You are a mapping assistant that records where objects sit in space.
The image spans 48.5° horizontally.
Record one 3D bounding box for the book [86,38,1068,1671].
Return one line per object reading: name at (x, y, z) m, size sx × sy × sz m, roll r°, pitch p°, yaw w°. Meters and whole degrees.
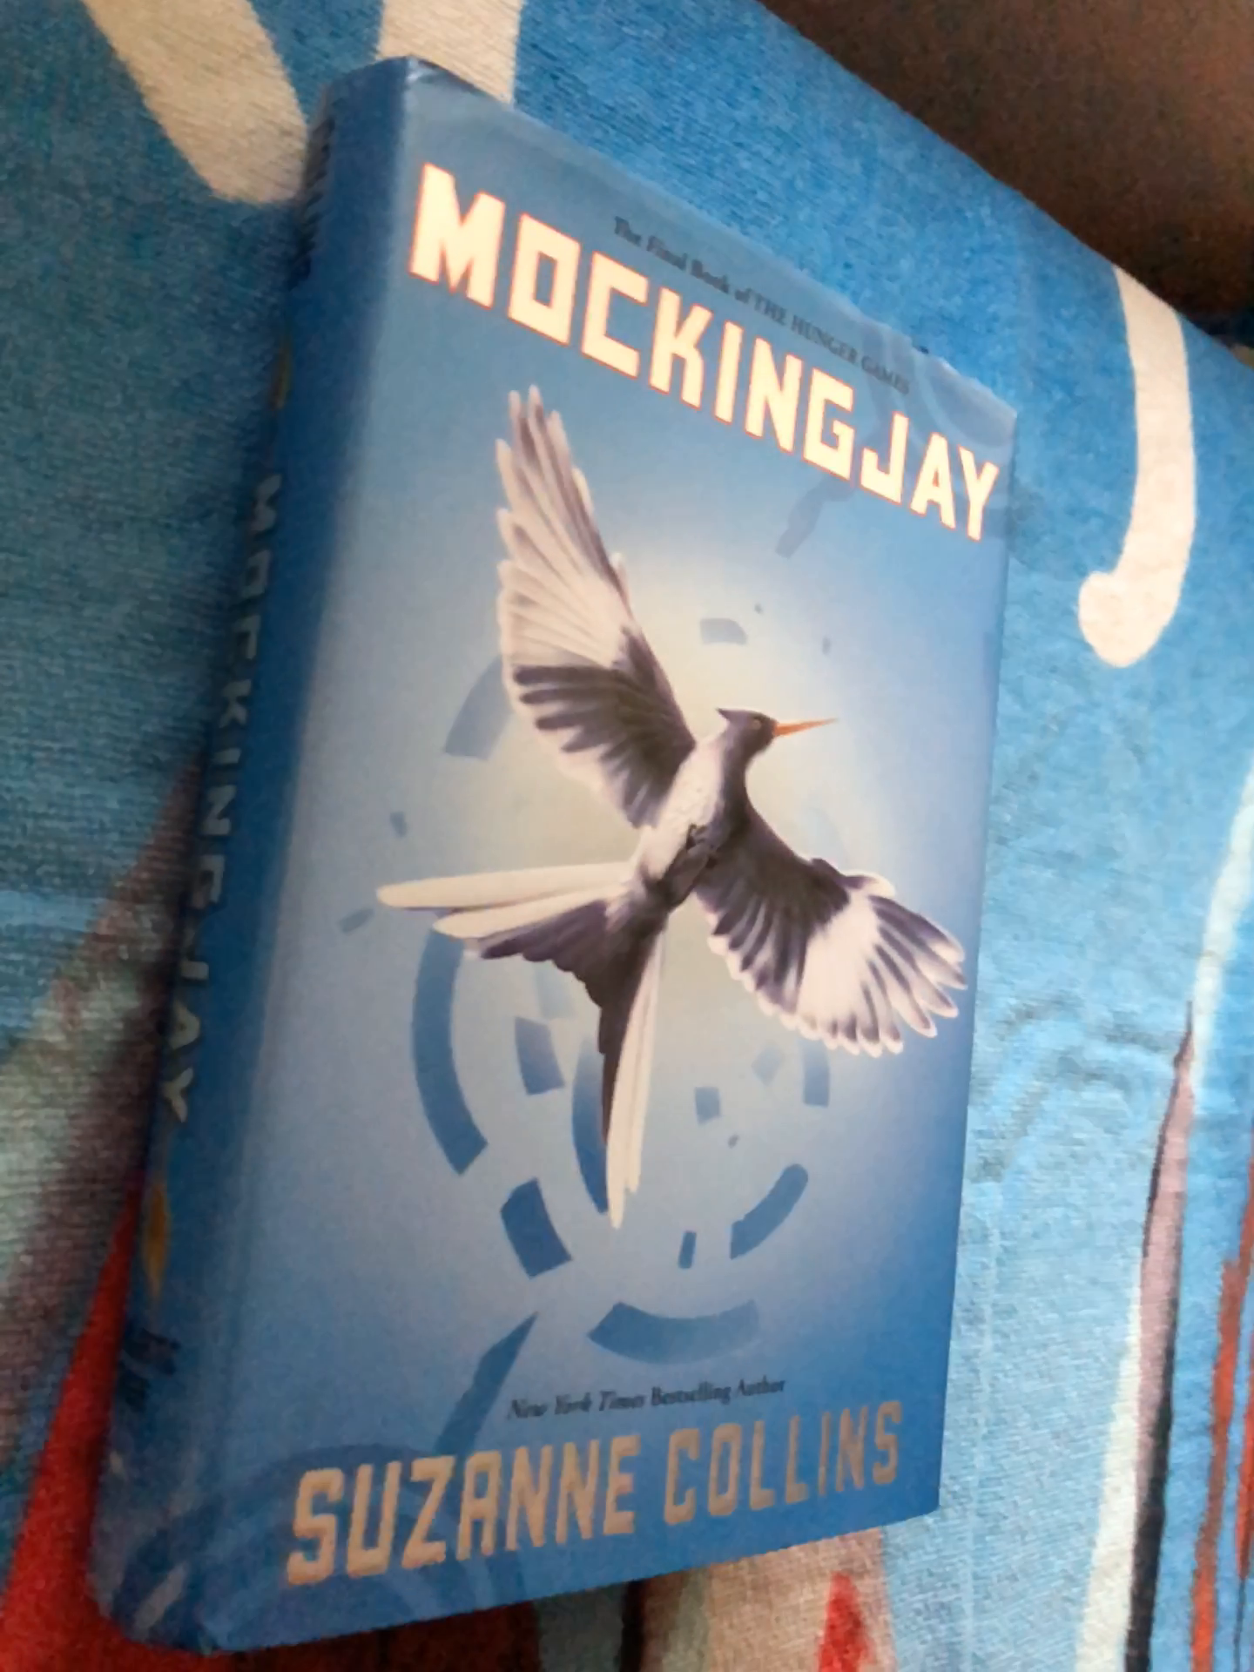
book at (0.006, 0.008, 0.224) m, size 0.141 × 0.040 × 0.200 m, roll 12°, pitch 80°, yaw -37°
